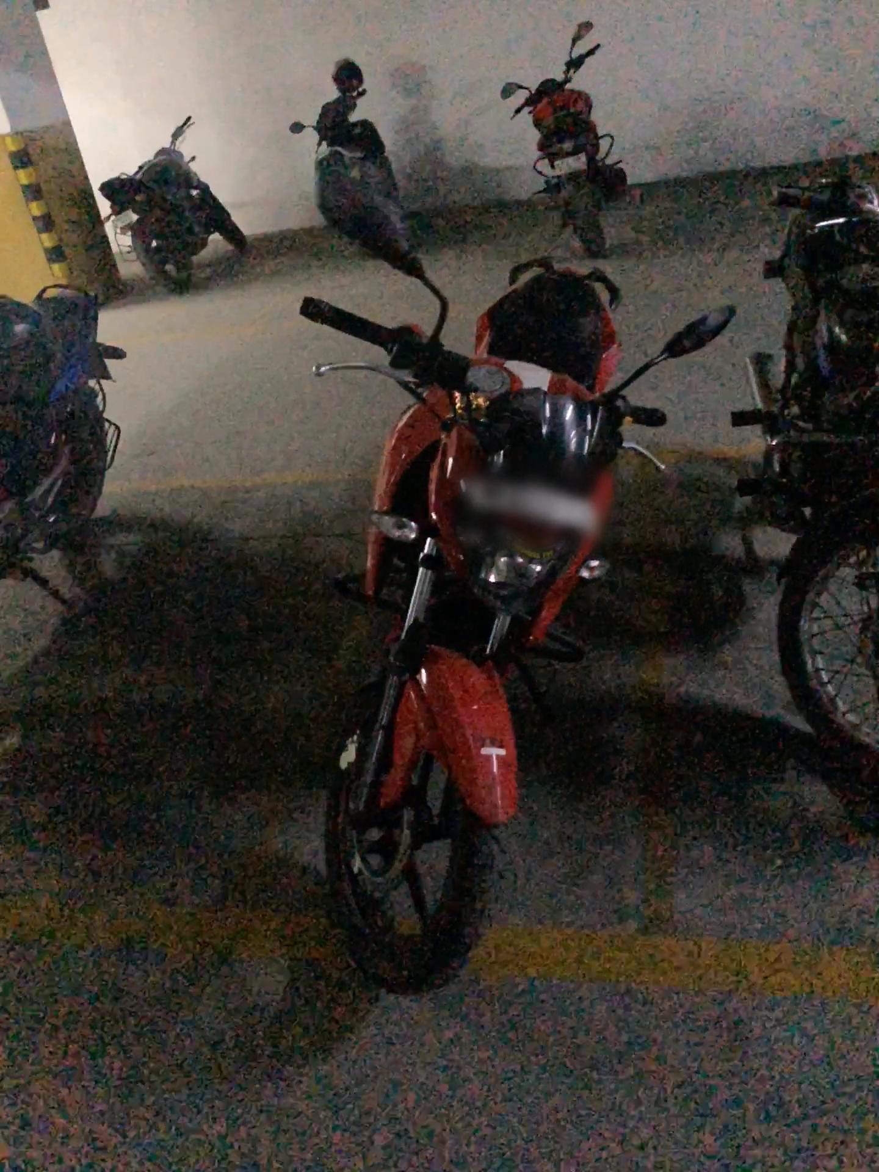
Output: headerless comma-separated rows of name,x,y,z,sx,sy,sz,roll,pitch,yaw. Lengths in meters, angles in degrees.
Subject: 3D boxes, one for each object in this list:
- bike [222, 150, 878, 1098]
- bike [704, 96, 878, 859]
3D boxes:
bike,0.288,-0.129,1.905,0.801,1.006,1.701,-3,35,10
bike,1.039,-0.391,1.960,0.673,0.934,1.573,-3,34,10
